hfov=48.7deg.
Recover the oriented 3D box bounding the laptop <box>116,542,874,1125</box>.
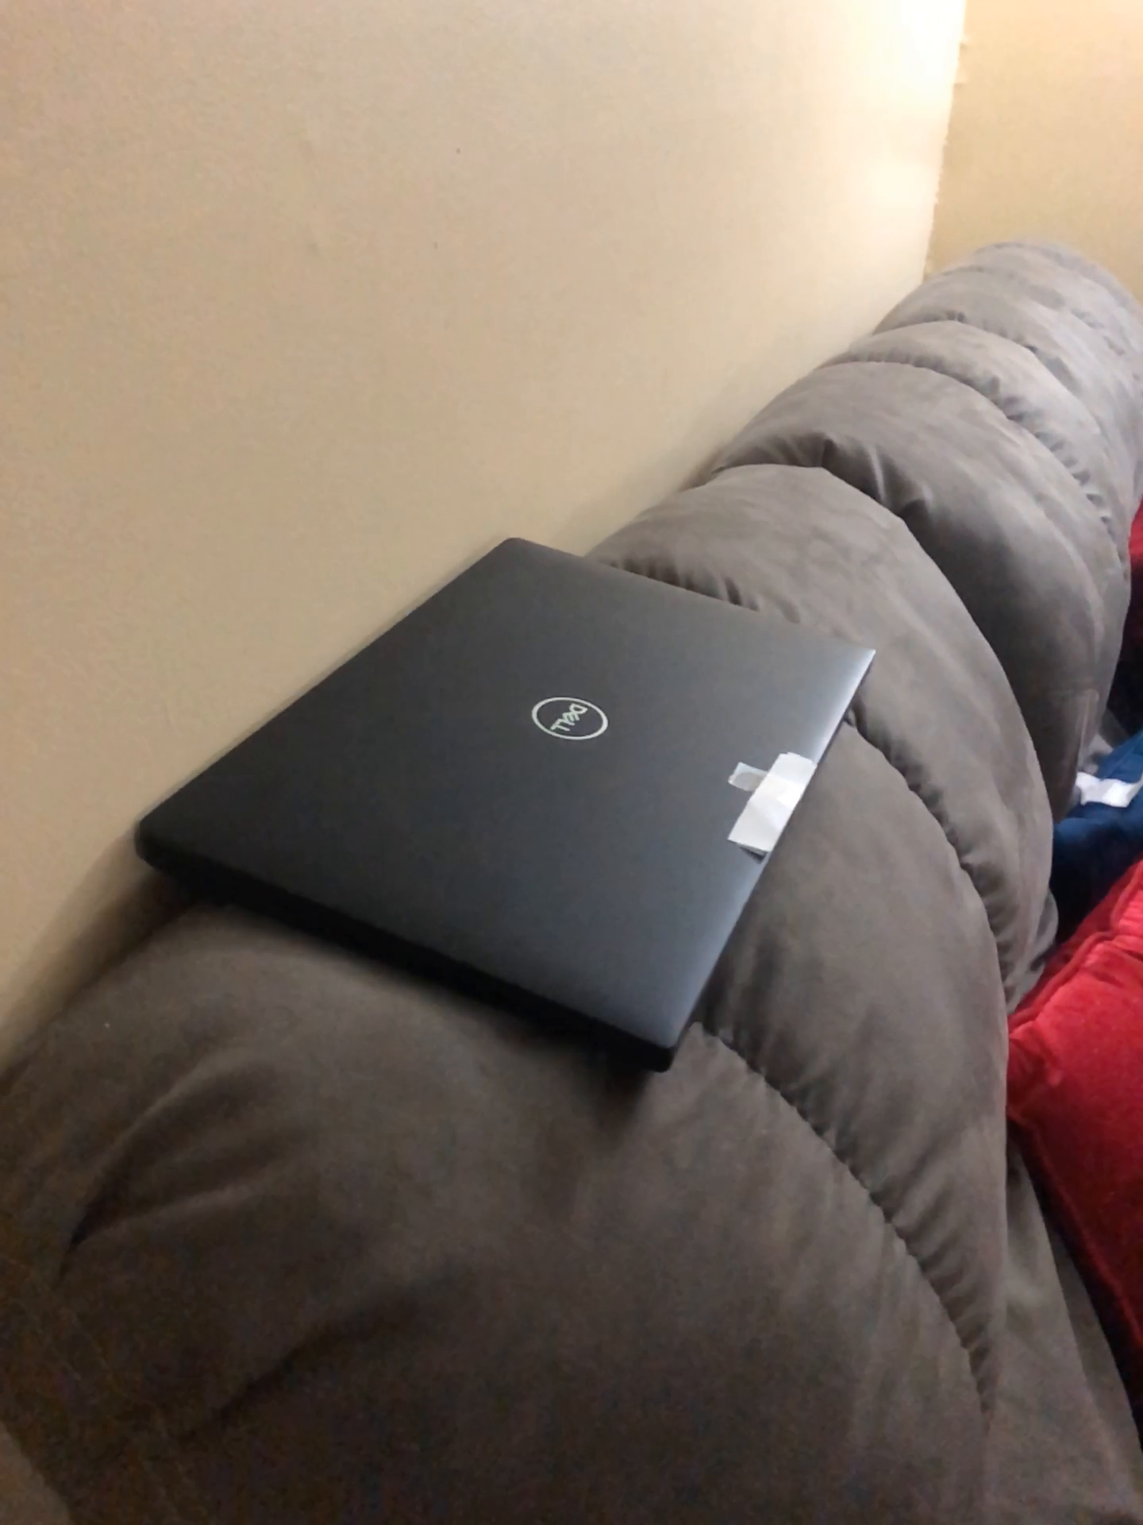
[{"bbox_3d":[-0.003,-0.001,0.571,0.214,0.030,0.326,19,35,14],"label":"laptop"}]
